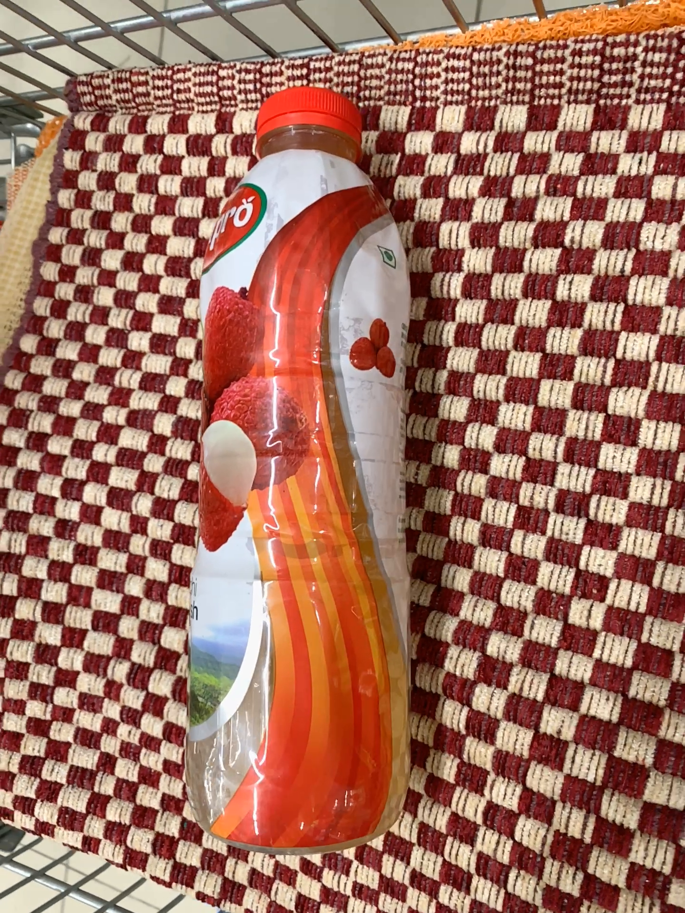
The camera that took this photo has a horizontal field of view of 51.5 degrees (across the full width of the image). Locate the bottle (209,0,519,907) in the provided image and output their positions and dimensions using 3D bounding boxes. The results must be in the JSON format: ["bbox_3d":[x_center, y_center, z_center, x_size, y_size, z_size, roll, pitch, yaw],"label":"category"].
[{"bbox_3d":[0.003,-0.003,0.230,0.080,0.070,0.240,1,88,-17],"label":"bottle"}]
